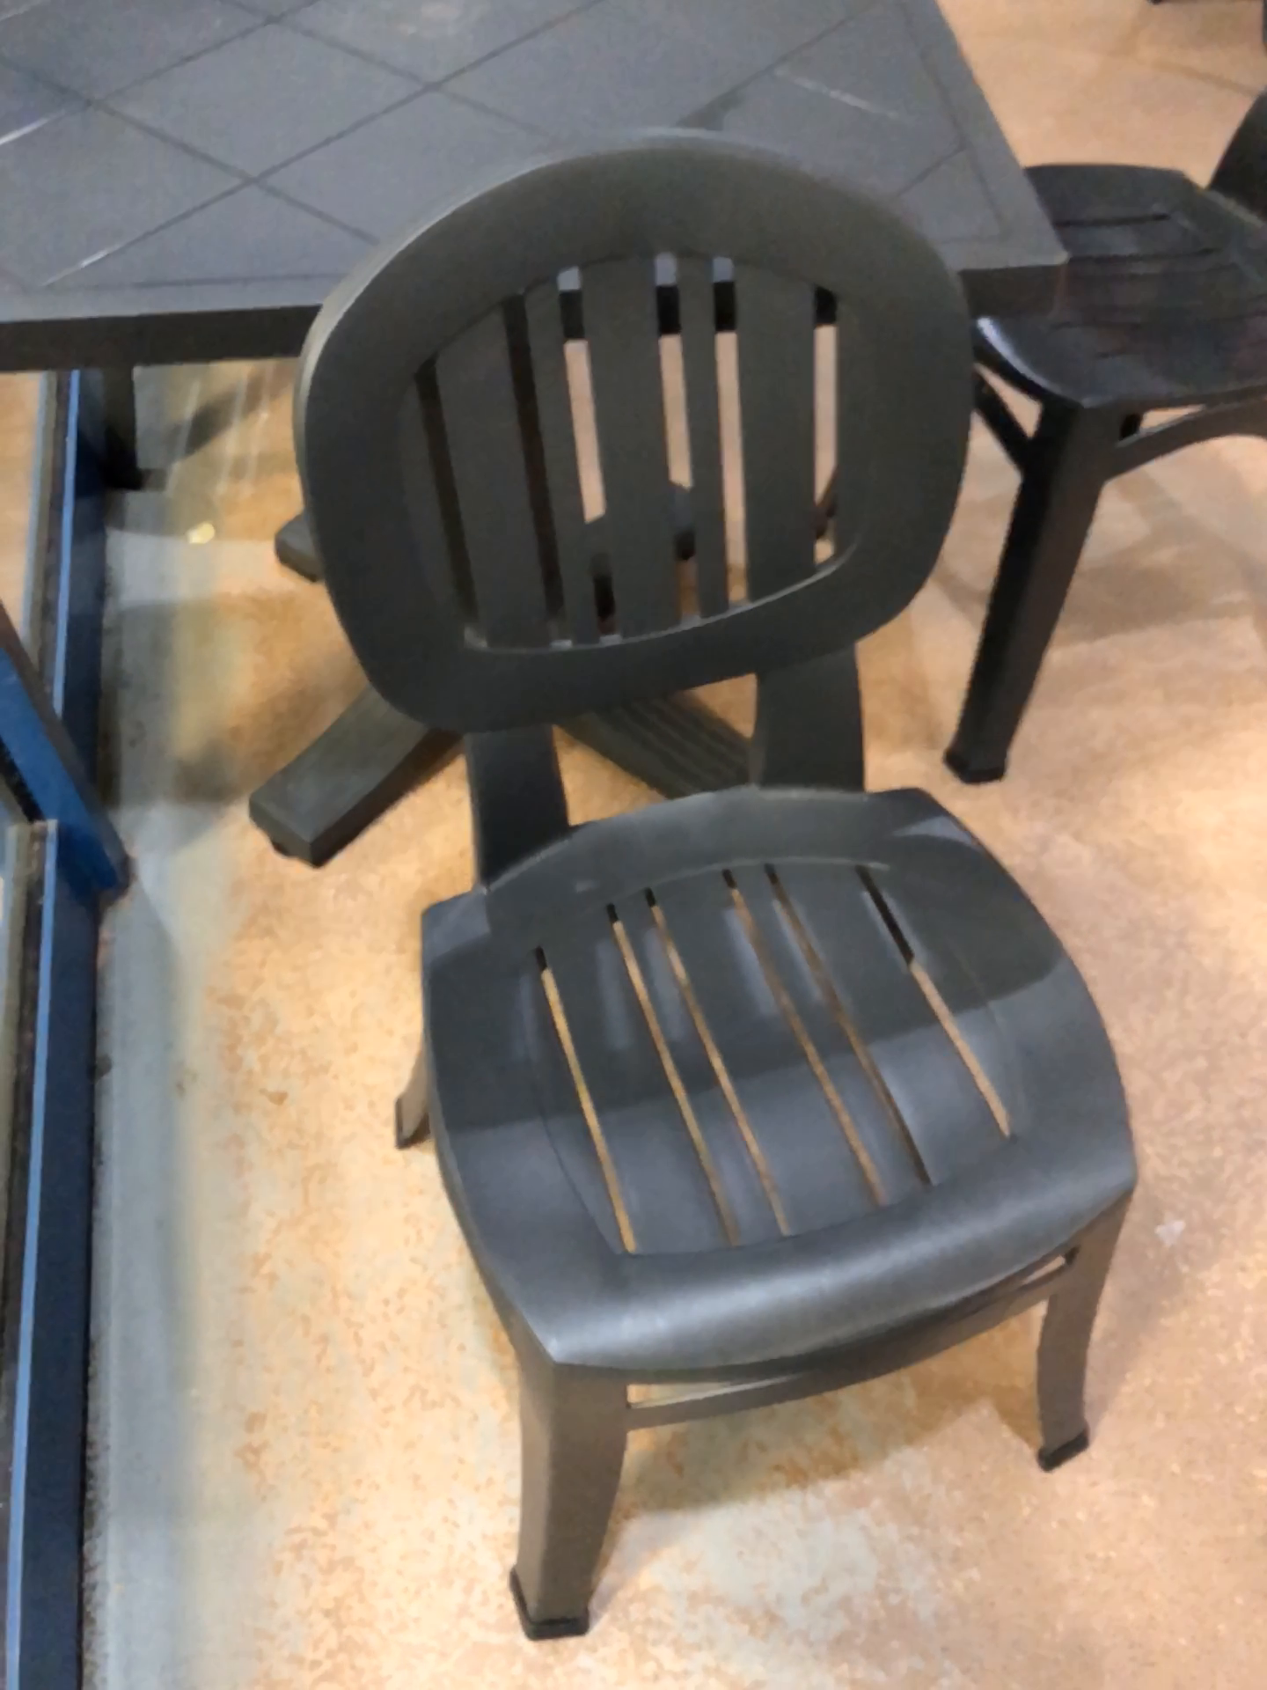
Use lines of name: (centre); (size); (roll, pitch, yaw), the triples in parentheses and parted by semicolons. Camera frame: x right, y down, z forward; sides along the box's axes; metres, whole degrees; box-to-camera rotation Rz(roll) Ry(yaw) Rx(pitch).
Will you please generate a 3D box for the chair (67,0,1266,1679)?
chair: (0.071, 0.036, 0.787); (0.500, 0.736, 0.553); (-13, 54, -9)
